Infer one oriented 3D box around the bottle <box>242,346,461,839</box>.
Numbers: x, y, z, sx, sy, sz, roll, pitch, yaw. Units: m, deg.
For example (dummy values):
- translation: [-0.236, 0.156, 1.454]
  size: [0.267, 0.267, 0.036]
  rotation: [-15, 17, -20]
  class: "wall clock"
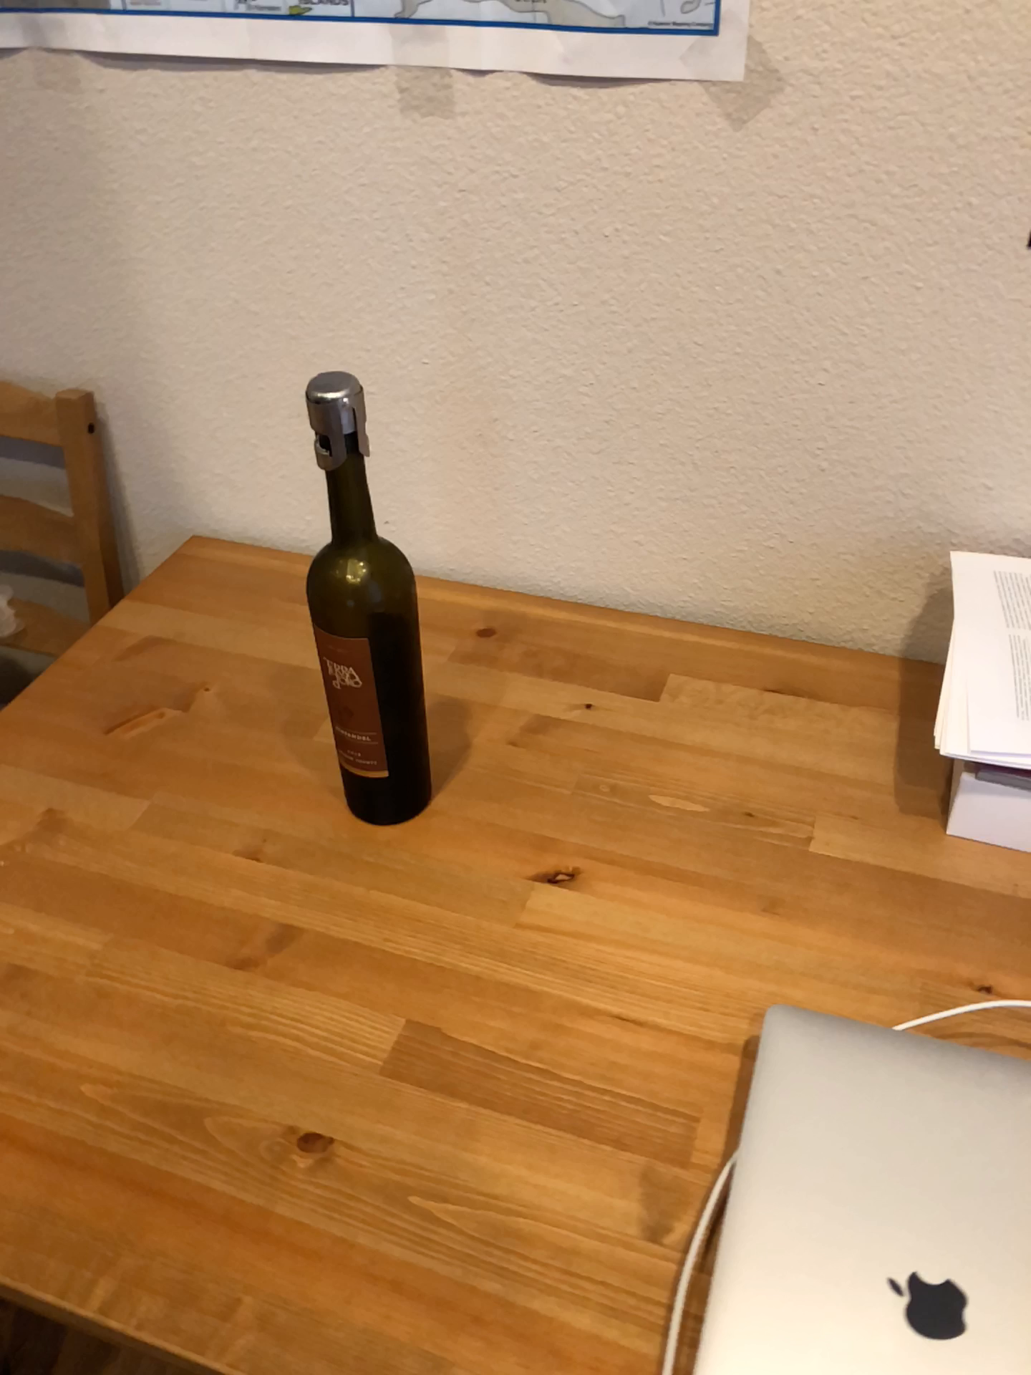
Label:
- translation: [-0.106, -0.055, 0.815]
  size: [0.080, 0.348, 0.080]
  rotation: [-2, 38, 1]
  class: "bottle"
